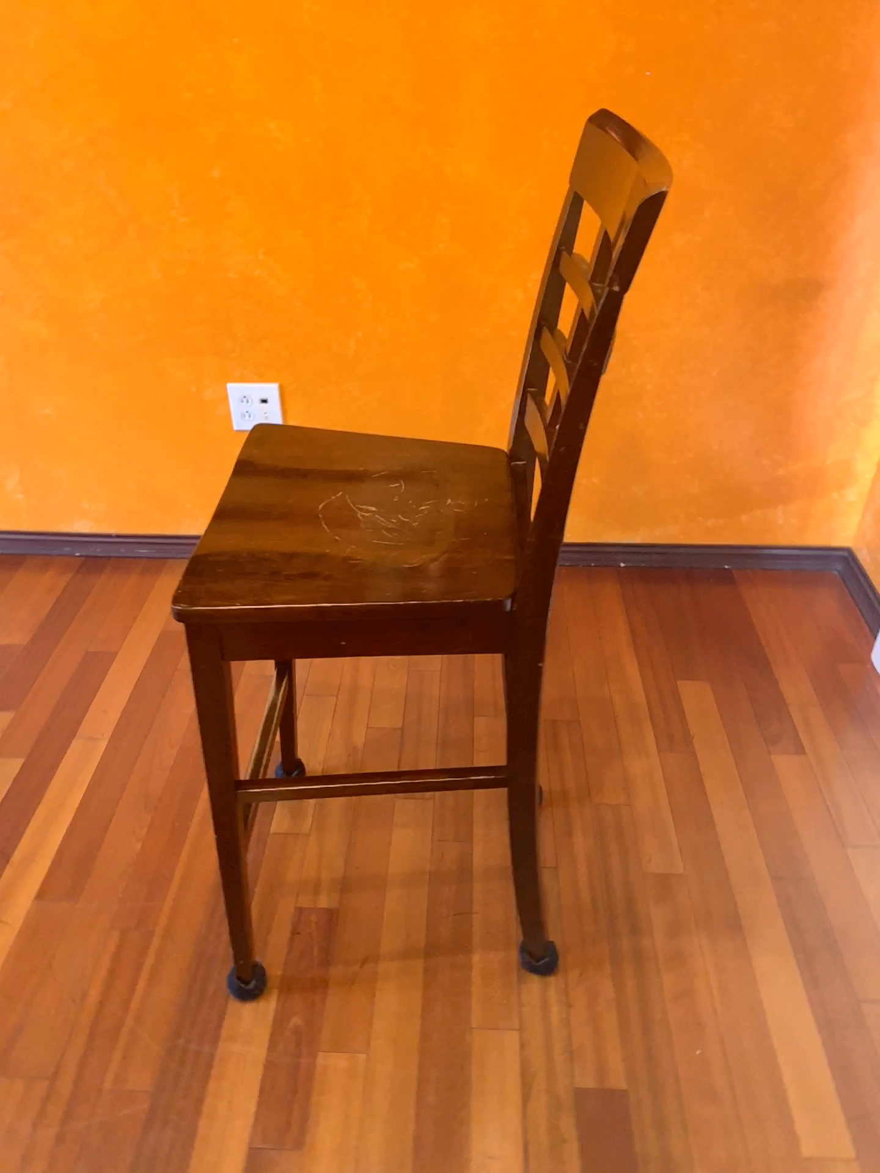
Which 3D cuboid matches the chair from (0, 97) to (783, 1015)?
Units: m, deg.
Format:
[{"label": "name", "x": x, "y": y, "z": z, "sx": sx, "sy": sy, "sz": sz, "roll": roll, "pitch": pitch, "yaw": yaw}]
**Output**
[{"label": "chair", "x": -0.062, "y": -0.015, "z": 1.124, "sx": 0.590, "sy": 0.987, "sz": 0.536, "roll": 2, "pitch": 34, "yaw": 1}]
